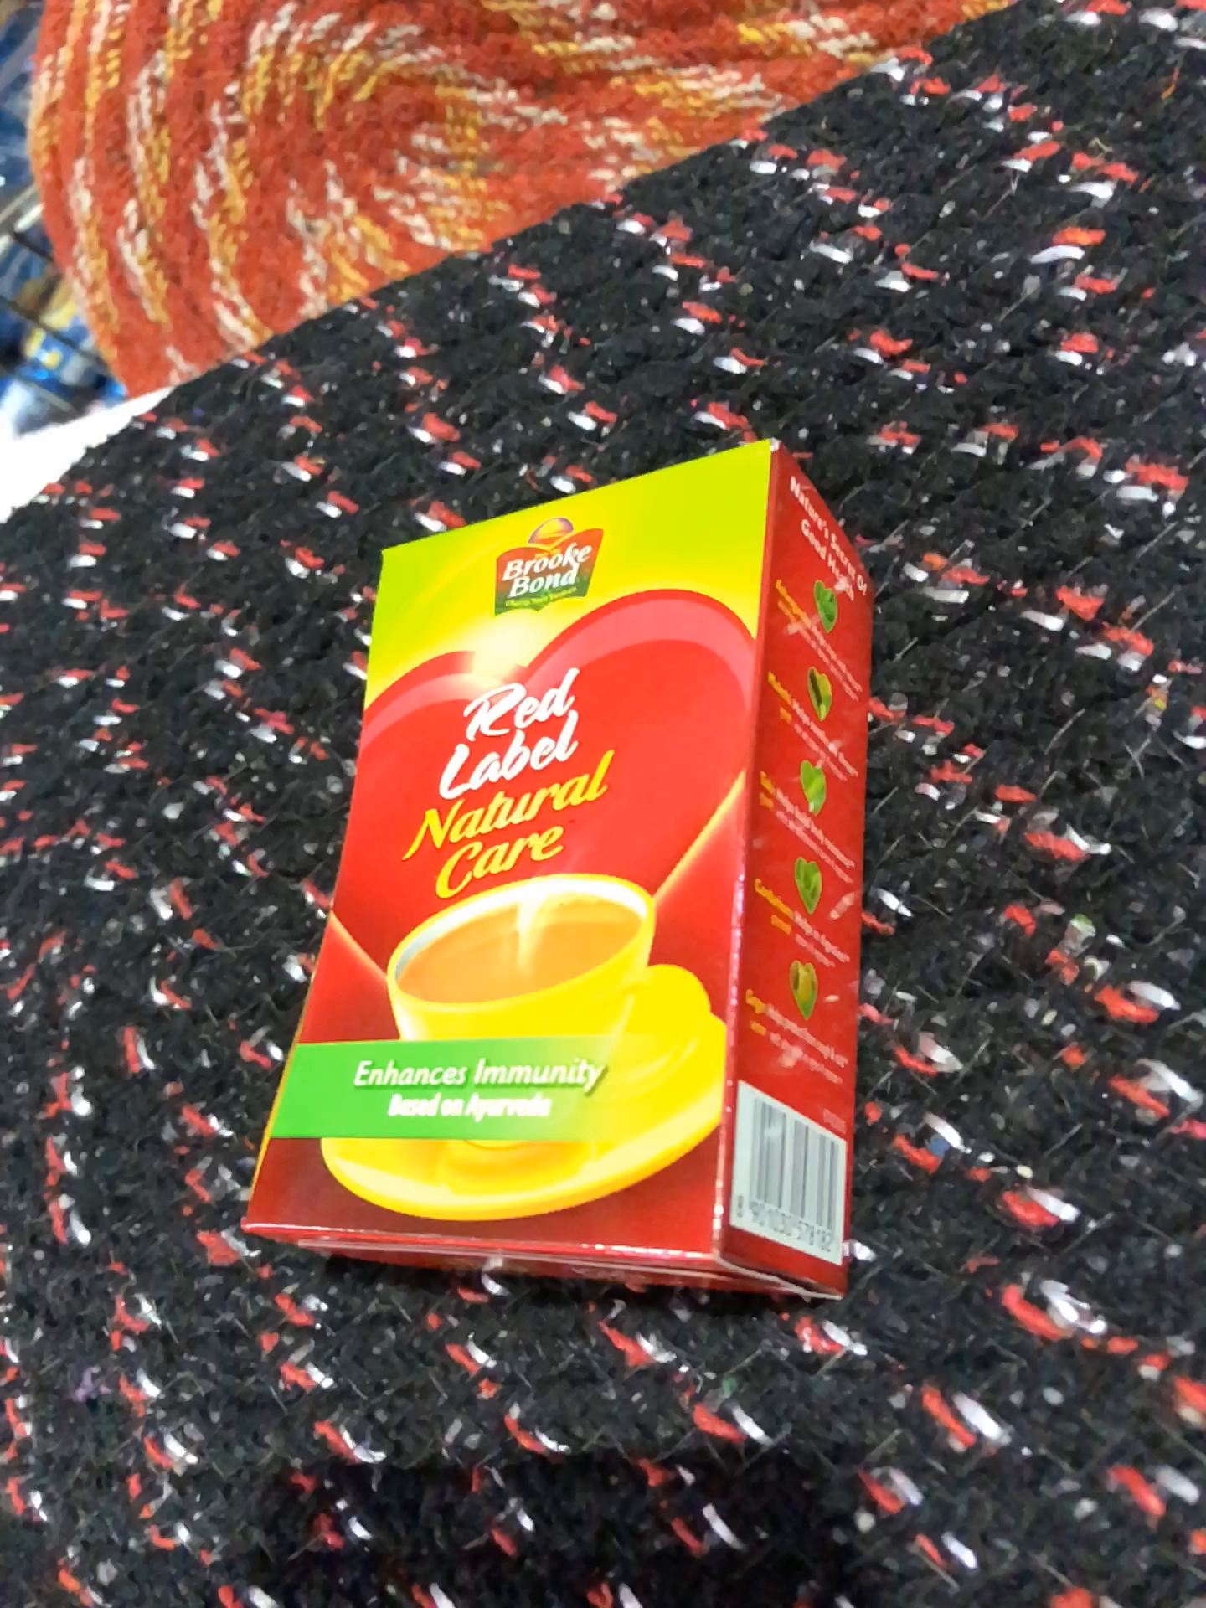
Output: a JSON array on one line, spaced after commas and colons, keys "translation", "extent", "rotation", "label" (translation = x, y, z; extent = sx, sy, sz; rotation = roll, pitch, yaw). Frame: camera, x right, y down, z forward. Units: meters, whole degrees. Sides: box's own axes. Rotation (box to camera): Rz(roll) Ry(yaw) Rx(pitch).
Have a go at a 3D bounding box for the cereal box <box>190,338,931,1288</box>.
[{"translation": [-0.001, 0.003, 0.184], "extent": [0.080, 0.040, 0.110], "rotation": [-6, 64, 28], "label": "cereal box"}]
